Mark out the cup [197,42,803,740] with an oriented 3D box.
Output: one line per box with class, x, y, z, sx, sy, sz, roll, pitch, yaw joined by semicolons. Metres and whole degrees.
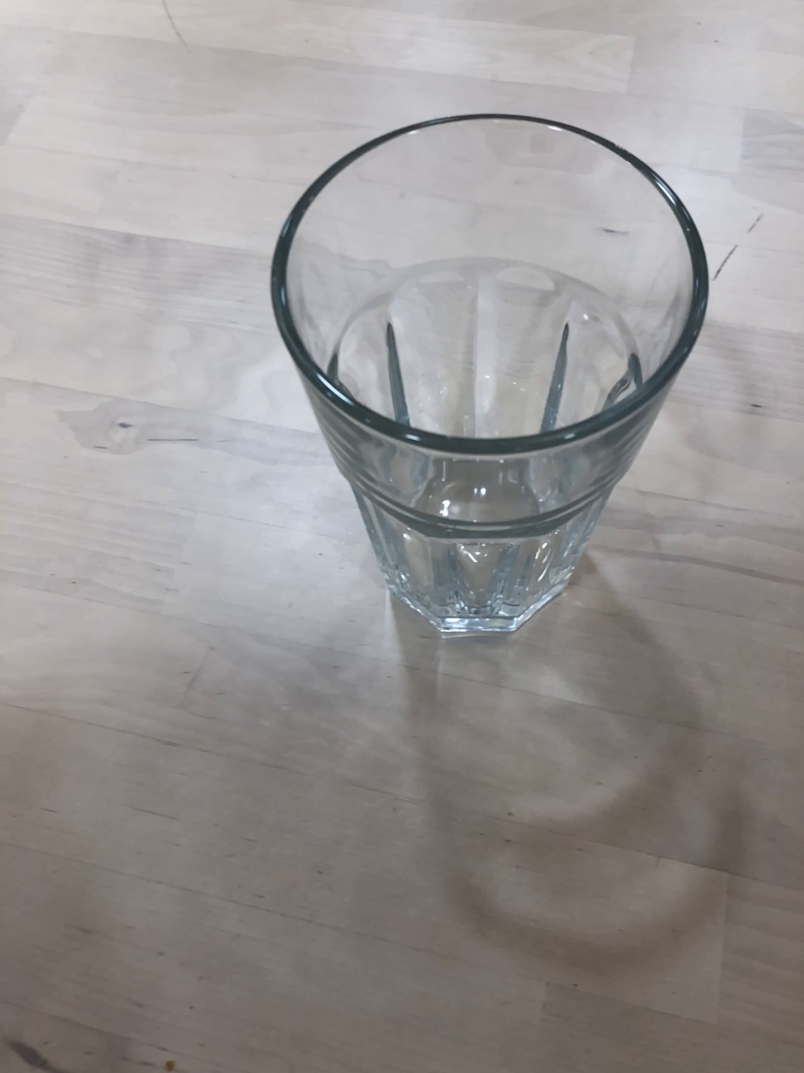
cup;0.026;-0.023;0.245;0.090;0.159;0.090;-1;64;3
